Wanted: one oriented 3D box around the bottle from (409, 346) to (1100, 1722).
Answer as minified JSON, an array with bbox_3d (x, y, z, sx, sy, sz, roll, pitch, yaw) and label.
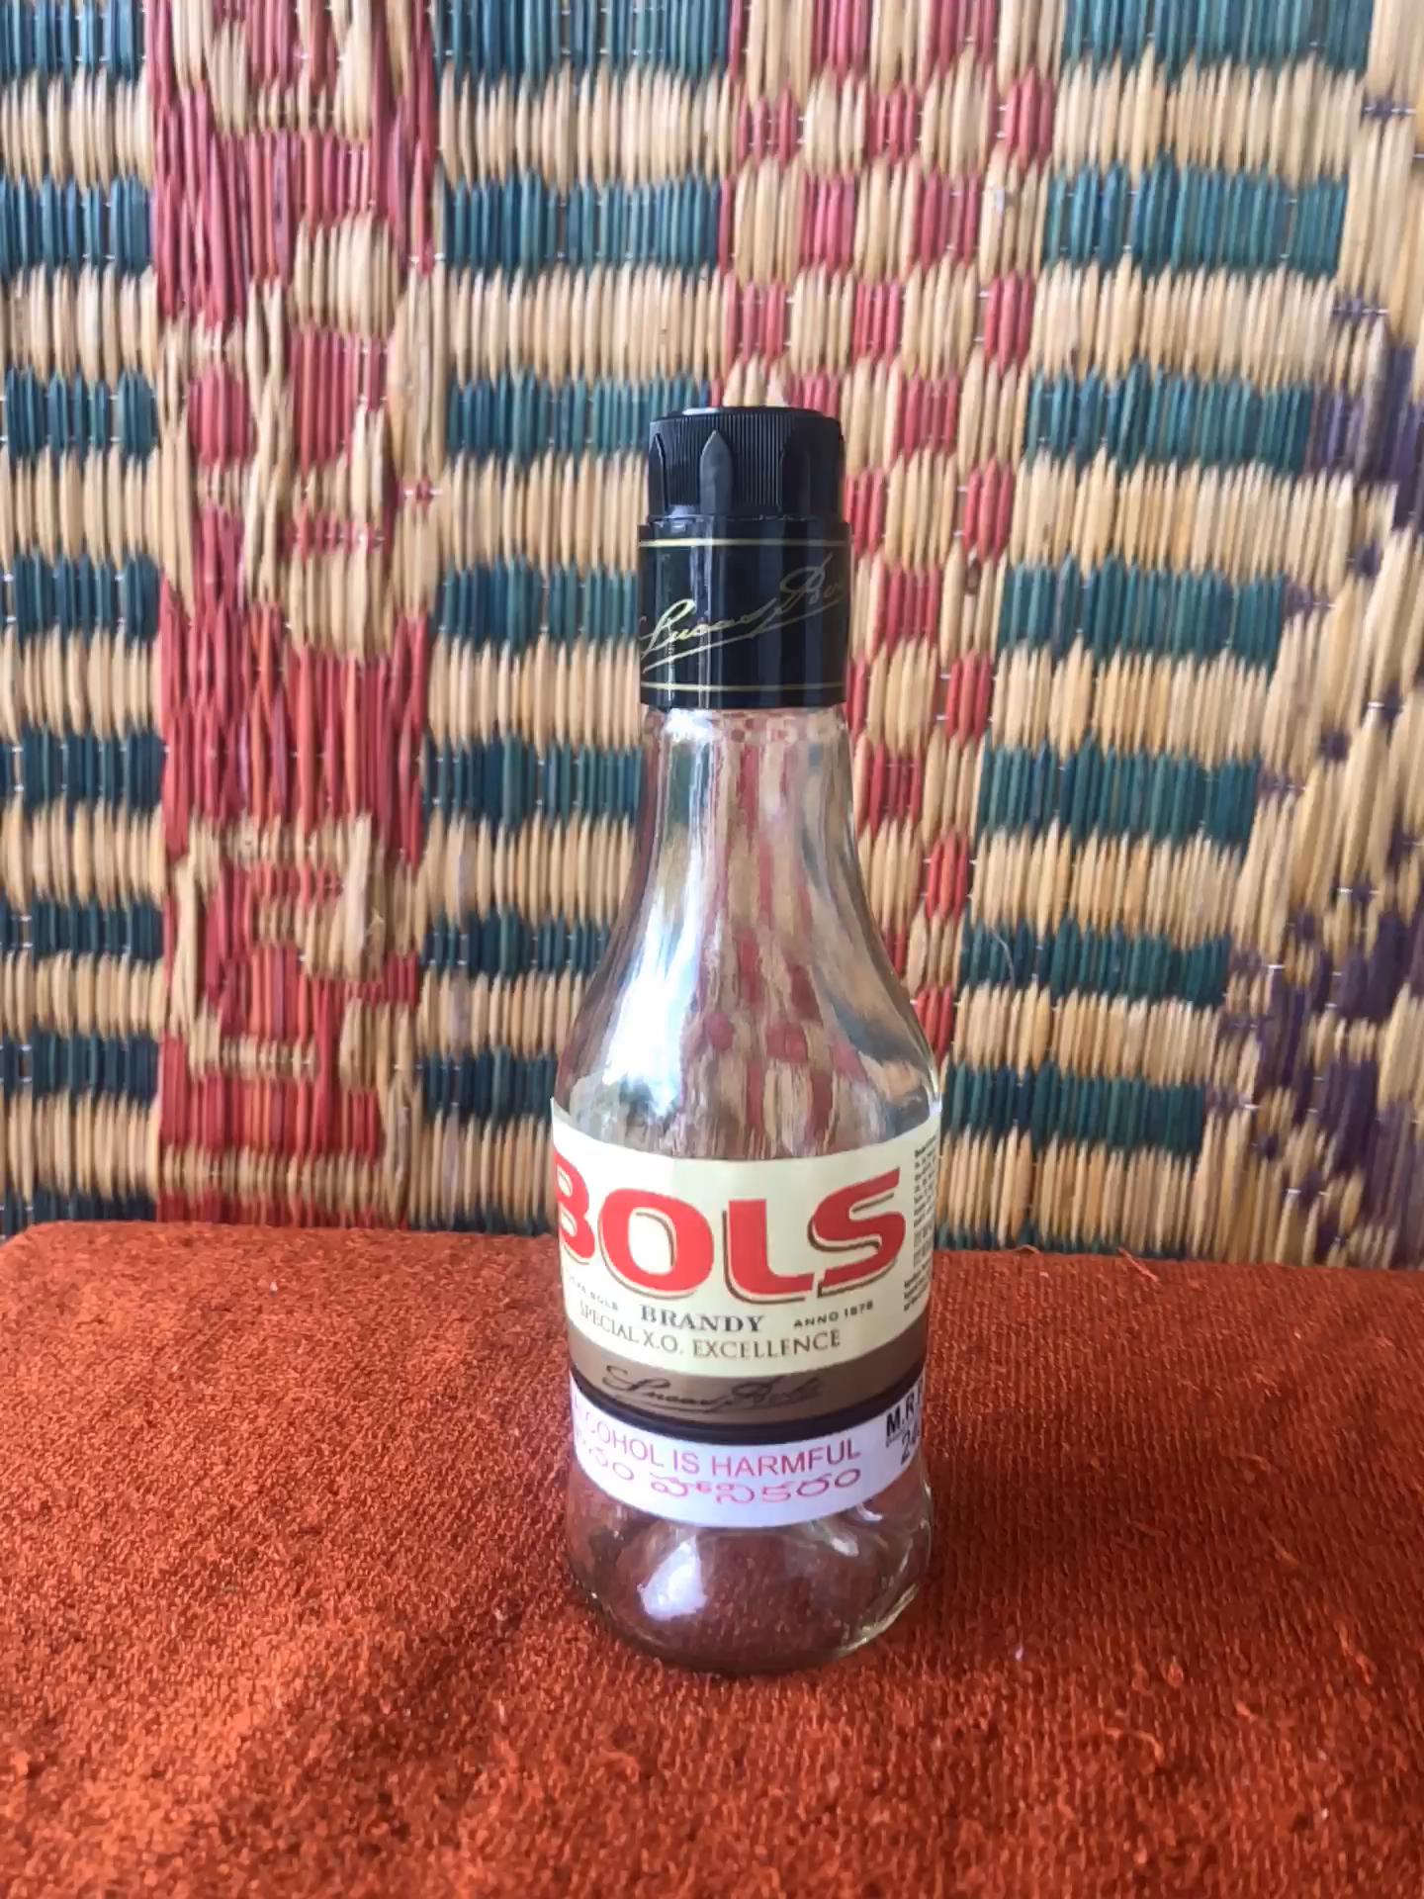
[{"bbox_3d":[0.007,0.008,0.209,0.070,0.159,0.060,3,16,9],"label":"bottle"}]
